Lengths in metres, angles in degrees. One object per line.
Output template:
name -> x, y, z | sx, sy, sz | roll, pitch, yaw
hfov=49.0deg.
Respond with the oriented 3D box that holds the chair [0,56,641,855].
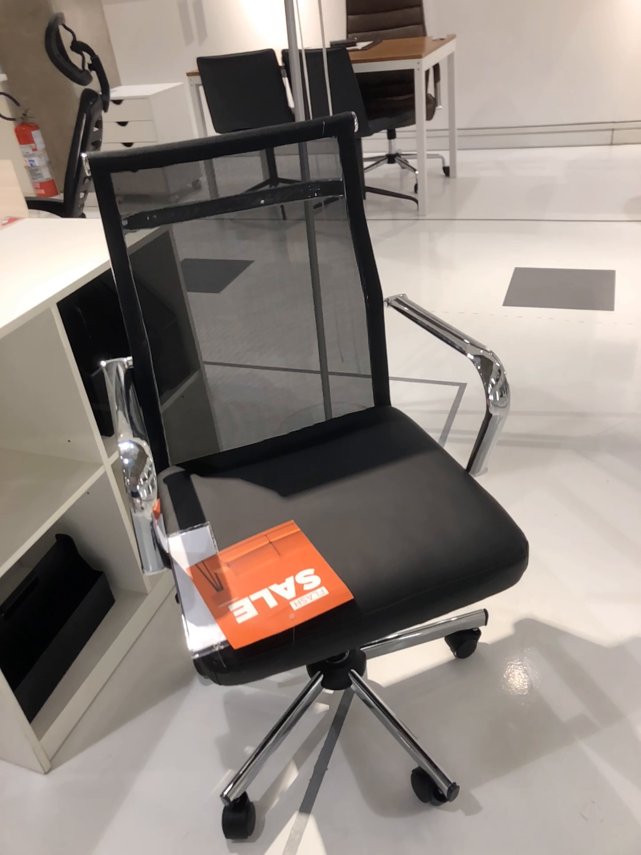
chair -> 0.015, 0.060, 1.057 | 0.611, 0.993, 0.624 | -17, 34, -14
